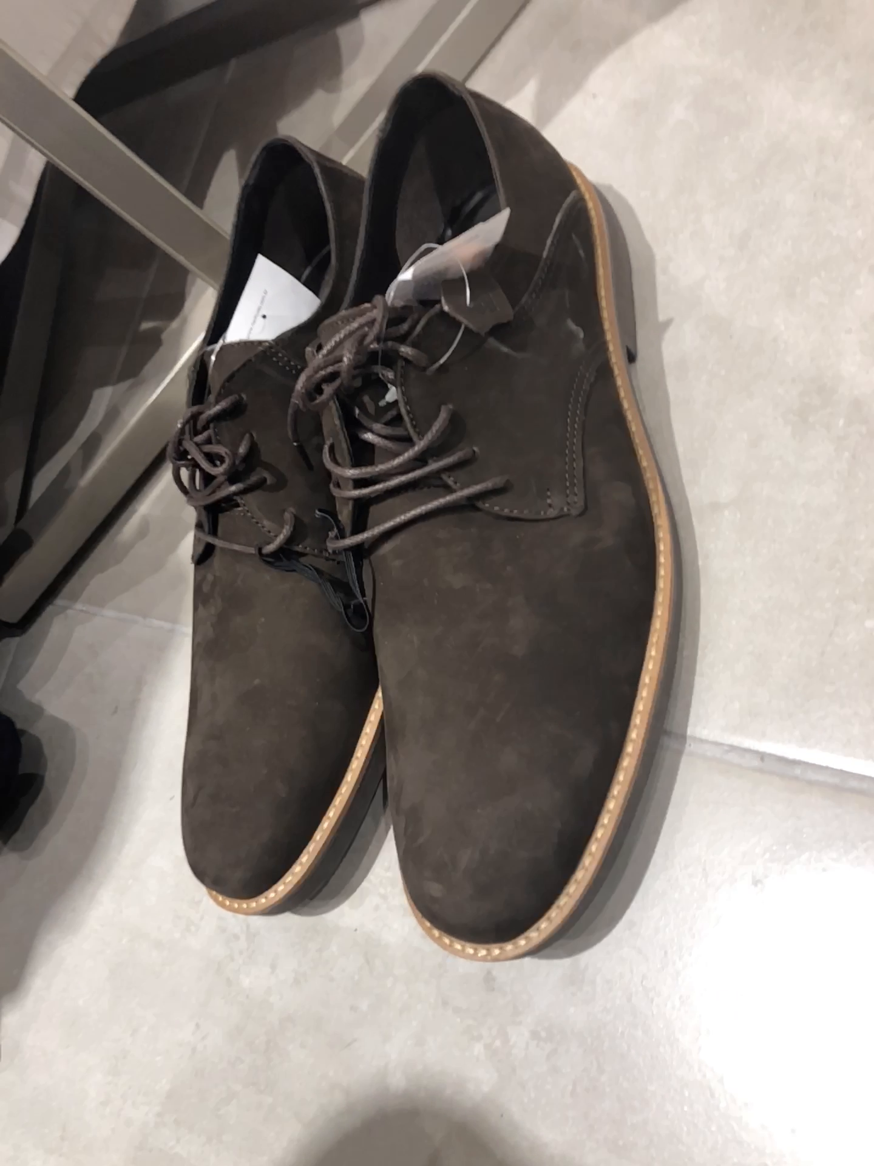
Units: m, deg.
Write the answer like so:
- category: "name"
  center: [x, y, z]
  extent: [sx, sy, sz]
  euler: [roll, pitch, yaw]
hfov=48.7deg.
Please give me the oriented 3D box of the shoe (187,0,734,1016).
- category: "shoe"
  center: [0.019, -0.023, 0.329]
  extent: [0.110, 0.119, 0.300]
  euler: [-10, 66, 32]

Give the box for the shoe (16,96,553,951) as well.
- category: "shoe"
  center: [-0.047, -0.019, 0.397]
  extent: [0.111, 0.119, 0.300]
  euler: [-2, 70, 35]
